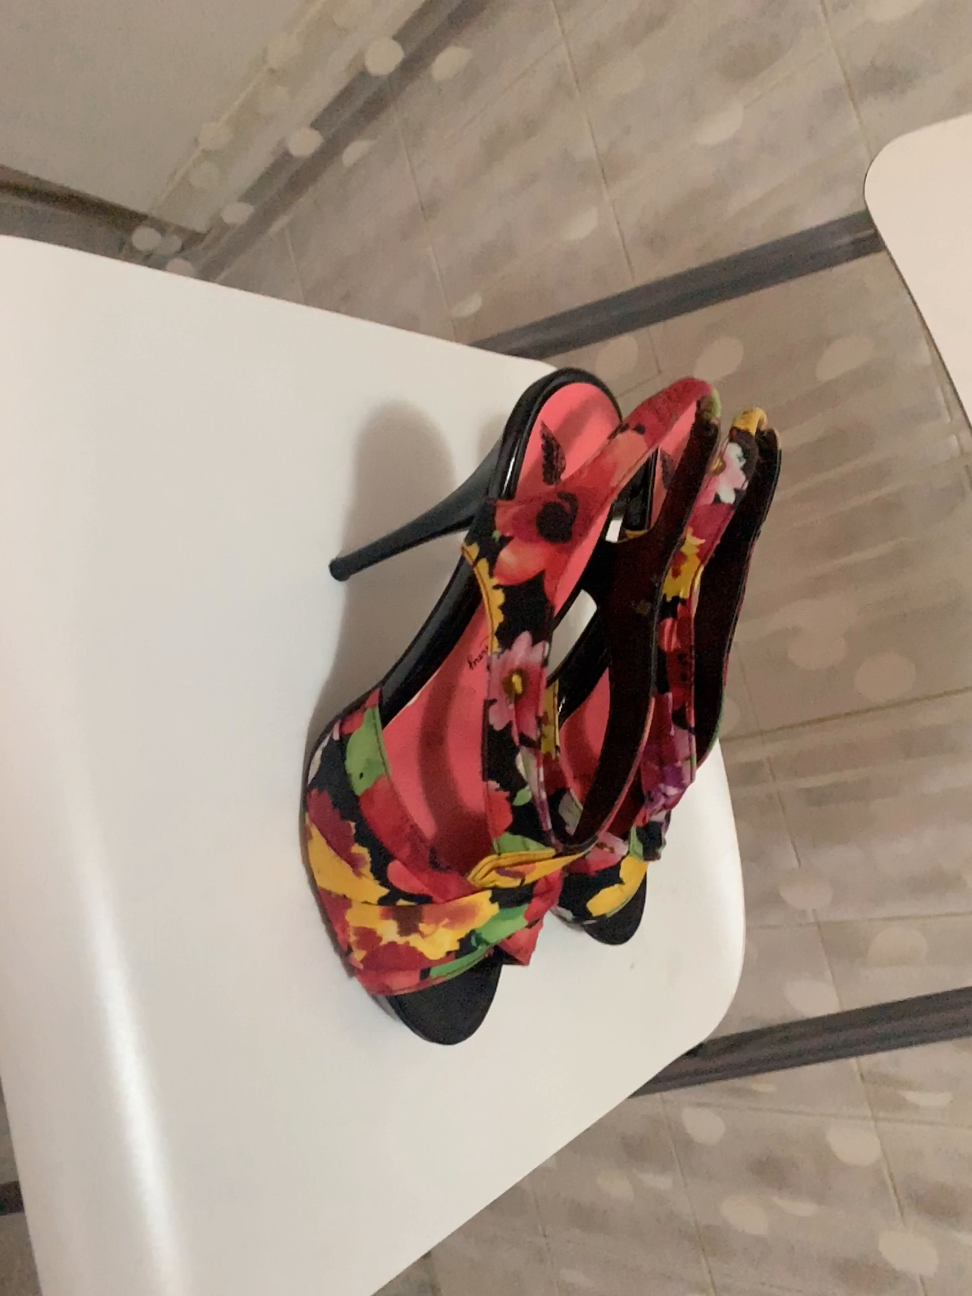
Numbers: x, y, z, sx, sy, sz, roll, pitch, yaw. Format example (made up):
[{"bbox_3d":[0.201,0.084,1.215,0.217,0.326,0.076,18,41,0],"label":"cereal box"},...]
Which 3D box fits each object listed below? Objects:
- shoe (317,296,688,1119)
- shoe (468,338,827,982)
[{"bbox_3d":[0.006,0.014,0.301,0.083,0.073,0.205,-2,93,-45],"label":"shoe"},{"bbox_3d":[0.062,0.001,0.369,0.081,0.085,0.205,-13,100,-46],"label":"shoe"}]
